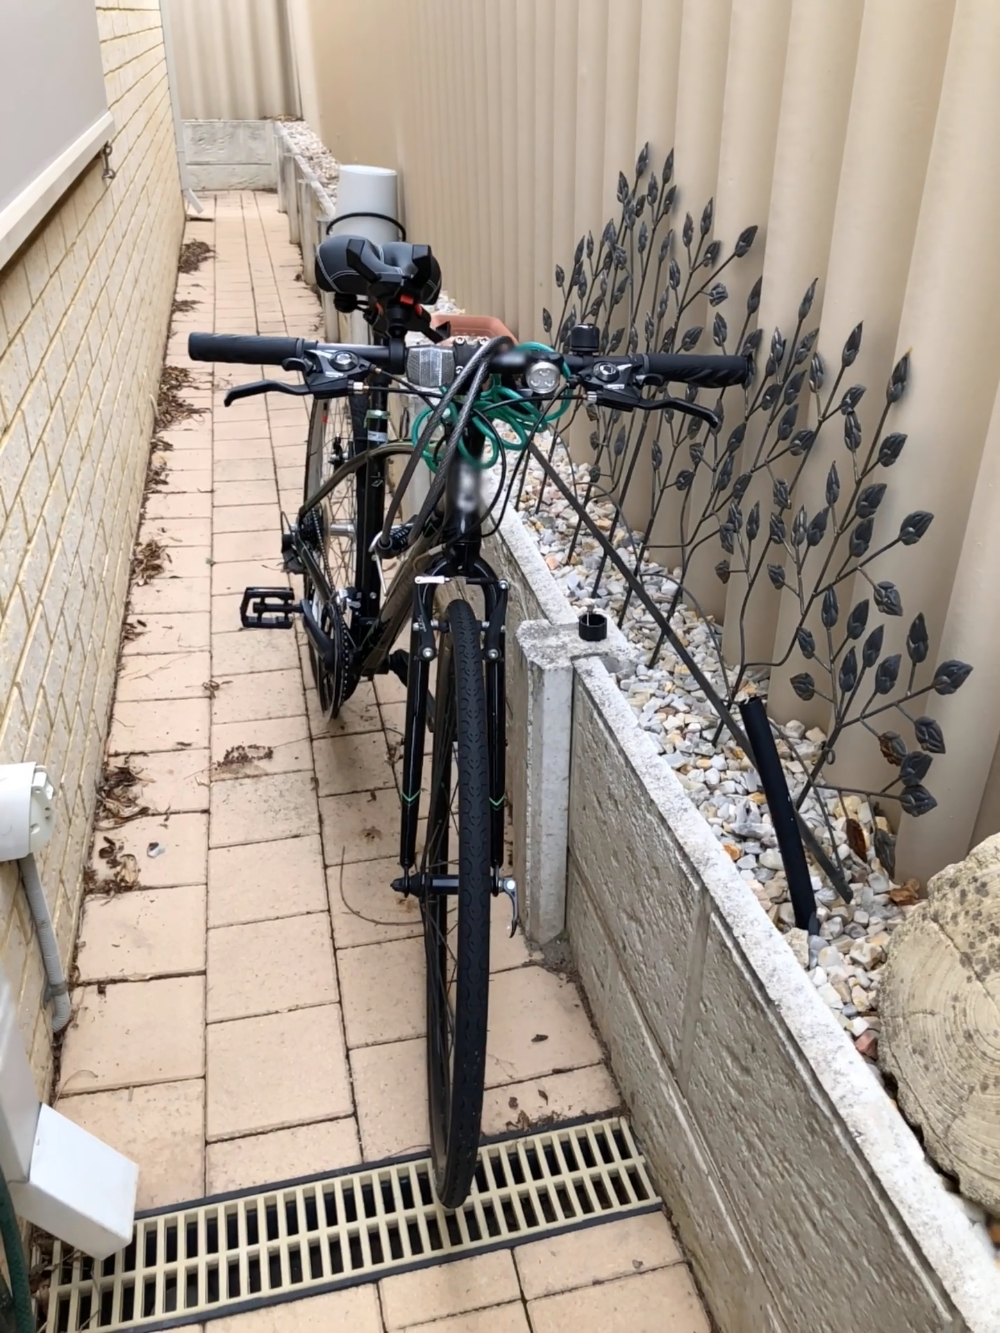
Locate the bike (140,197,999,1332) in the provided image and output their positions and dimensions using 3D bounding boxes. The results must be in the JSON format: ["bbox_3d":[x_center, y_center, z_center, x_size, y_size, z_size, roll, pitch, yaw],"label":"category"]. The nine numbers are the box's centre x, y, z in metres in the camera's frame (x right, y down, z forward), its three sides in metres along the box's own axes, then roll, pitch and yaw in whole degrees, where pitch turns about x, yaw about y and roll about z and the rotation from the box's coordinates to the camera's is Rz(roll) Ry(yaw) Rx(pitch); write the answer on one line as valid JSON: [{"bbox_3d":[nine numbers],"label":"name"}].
[{"bbox_3d":[-0.110,-0.137,1.660,0.638,0.859,1.707,-6,30,-12],"label":"bike"}]
